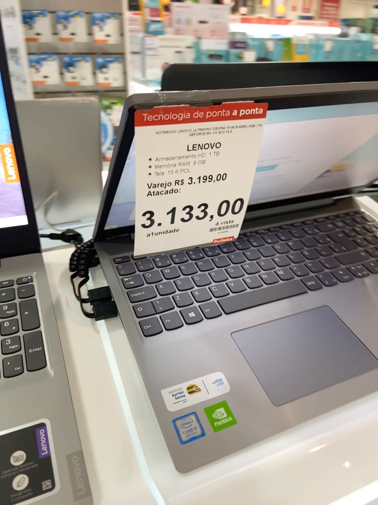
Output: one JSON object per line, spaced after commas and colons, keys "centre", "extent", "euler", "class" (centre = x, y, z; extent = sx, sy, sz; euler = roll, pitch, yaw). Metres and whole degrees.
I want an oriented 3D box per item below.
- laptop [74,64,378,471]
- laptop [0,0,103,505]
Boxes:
{"centre": [0.112, -0.044, 0.354], "extent": [0.360, 0.163, 0.242], "euler": [-12, 38, -21], "class": "laptop"}
{"centre": [-0.289, -0.035, 0.230], "extent": [0.347, 0.224, 0.353], "euler": [-11, 38, -24], "class": "laptop"}
